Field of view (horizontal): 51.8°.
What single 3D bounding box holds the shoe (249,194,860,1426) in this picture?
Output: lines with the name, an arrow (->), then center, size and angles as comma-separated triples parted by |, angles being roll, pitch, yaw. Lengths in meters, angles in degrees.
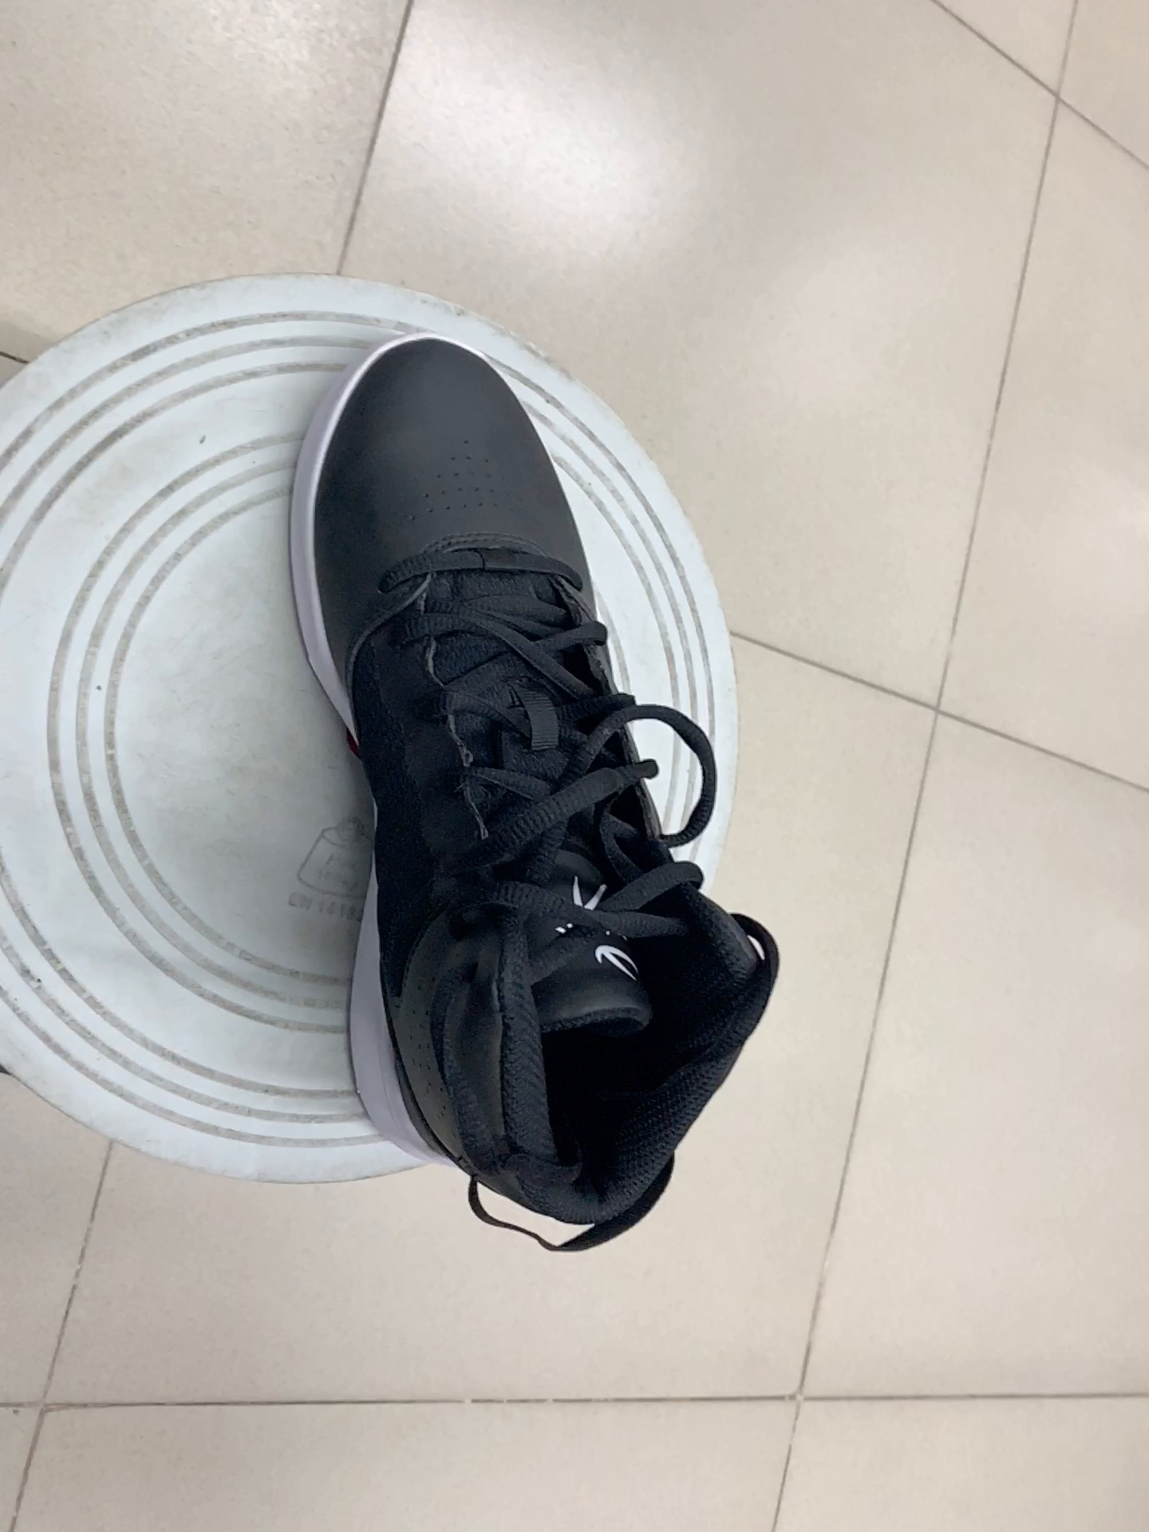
shoe -> -0.008, 0.007, 0.293 | 0.090, 0.100, 0.240 | -8, 95, -28
